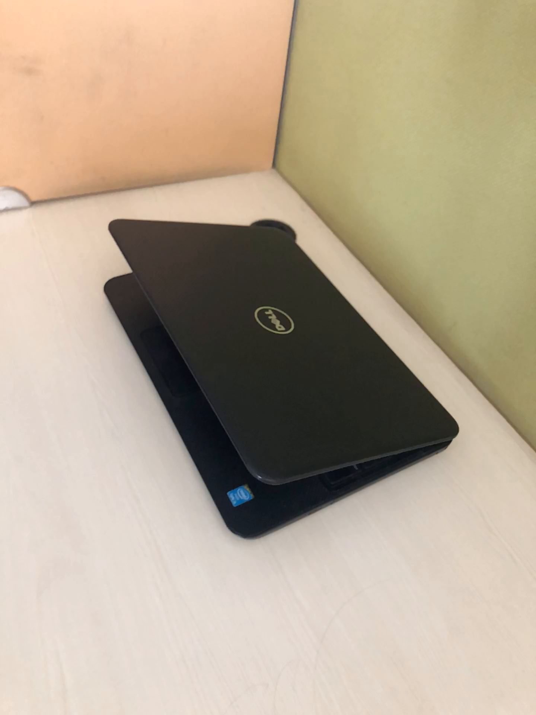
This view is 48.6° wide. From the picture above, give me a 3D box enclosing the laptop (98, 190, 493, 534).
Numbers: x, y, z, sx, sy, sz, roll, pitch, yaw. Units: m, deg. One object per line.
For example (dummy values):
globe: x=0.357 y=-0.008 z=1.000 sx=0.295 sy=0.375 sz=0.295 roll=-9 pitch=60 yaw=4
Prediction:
laptop: x=0.006 y=-0.030 z=0.620 sx=0.247 sy=0.078 sz=0.355 roll=-18 pitch=52 yaw=-23
